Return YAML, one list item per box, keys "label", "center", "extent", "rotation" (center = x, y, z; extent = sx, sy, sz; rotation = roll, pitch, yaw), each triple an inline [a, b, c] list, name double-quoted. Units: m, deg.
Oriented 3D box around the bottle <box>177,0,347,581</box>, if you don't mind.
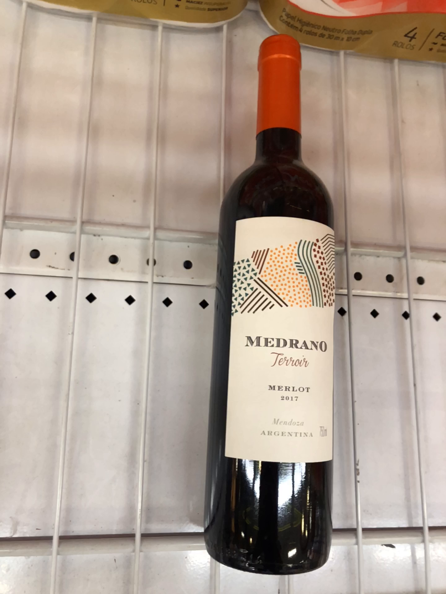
- label: "bottle"
  center: [0.024, -0.015, 0.313]
  extent: [0.080, 0.070, 0.330]
  rotation: [4, 78, -10]
